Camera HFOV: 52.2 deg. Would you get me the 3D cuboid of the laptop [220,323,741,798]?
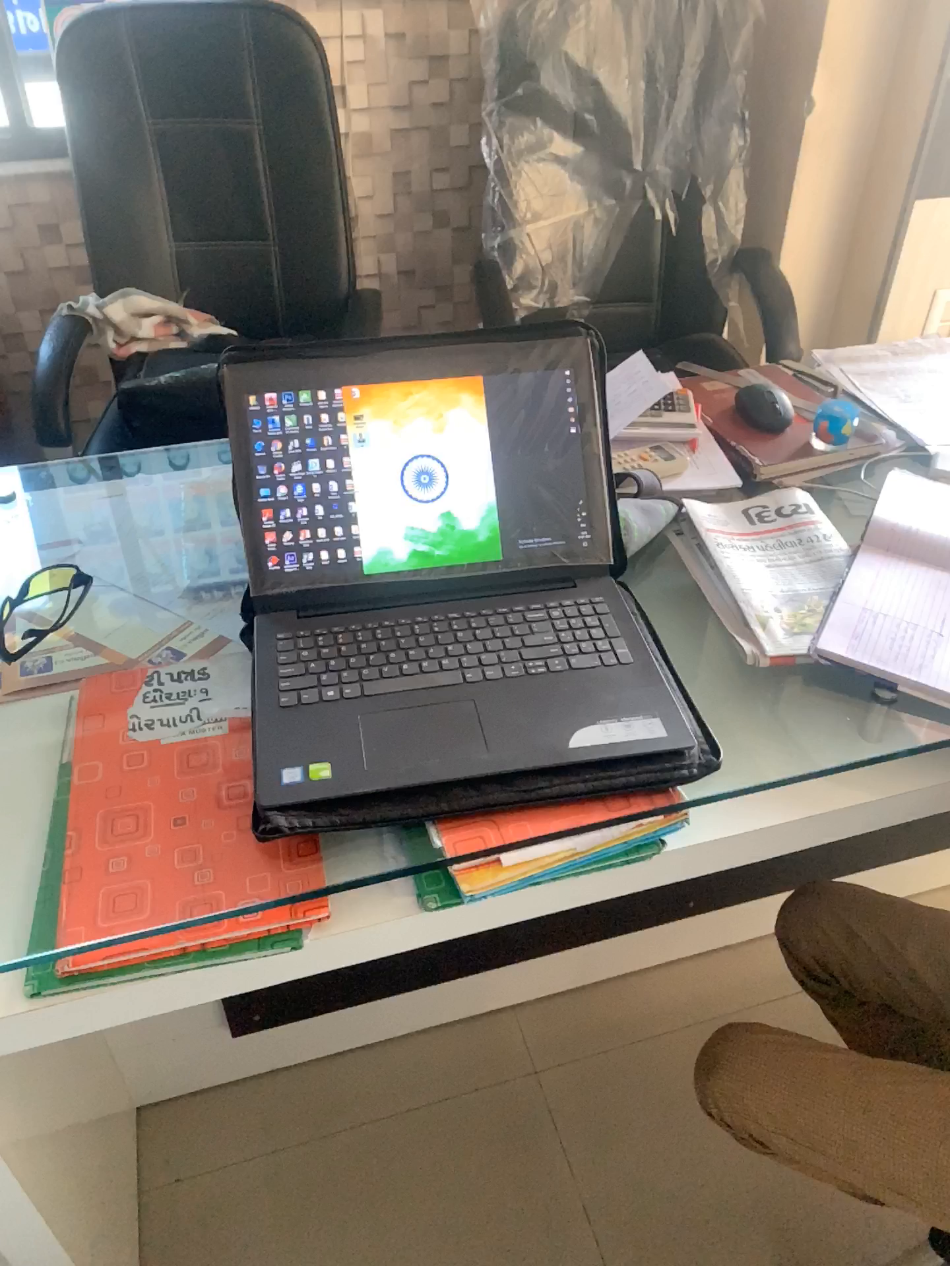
[{"bbox_3d":[-0.026,-0.089,0.818,0.334,0.175,0.392,-6,40,-7],"label":"laptop"}]
